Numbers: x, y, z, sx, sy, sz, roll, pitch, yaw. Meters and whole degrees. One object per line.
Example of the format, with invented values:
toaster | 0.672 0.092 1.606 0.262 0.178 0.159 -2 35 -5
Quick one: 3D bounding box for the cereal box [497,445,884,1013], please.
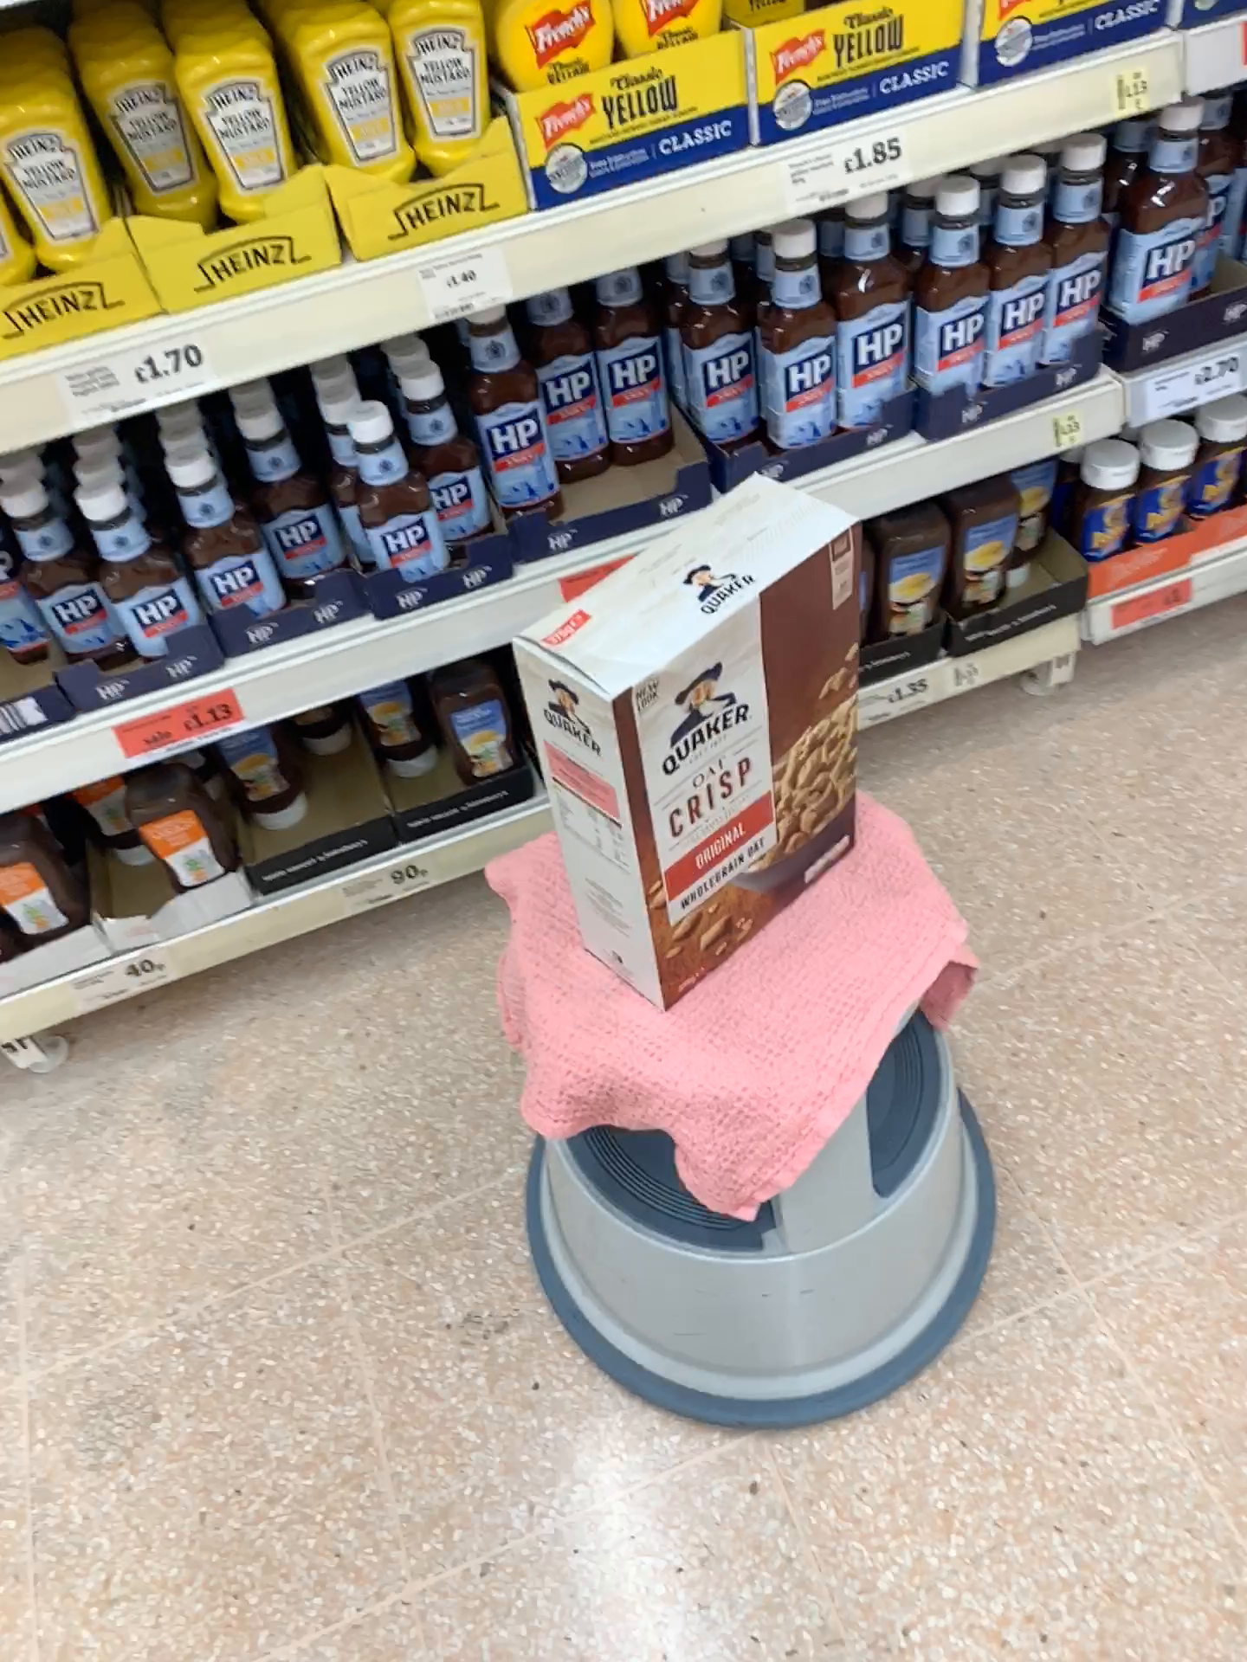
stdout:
cereal box | 0.051 -0.051 0.747 0.191 0.268 0.090 -38 55 -23
